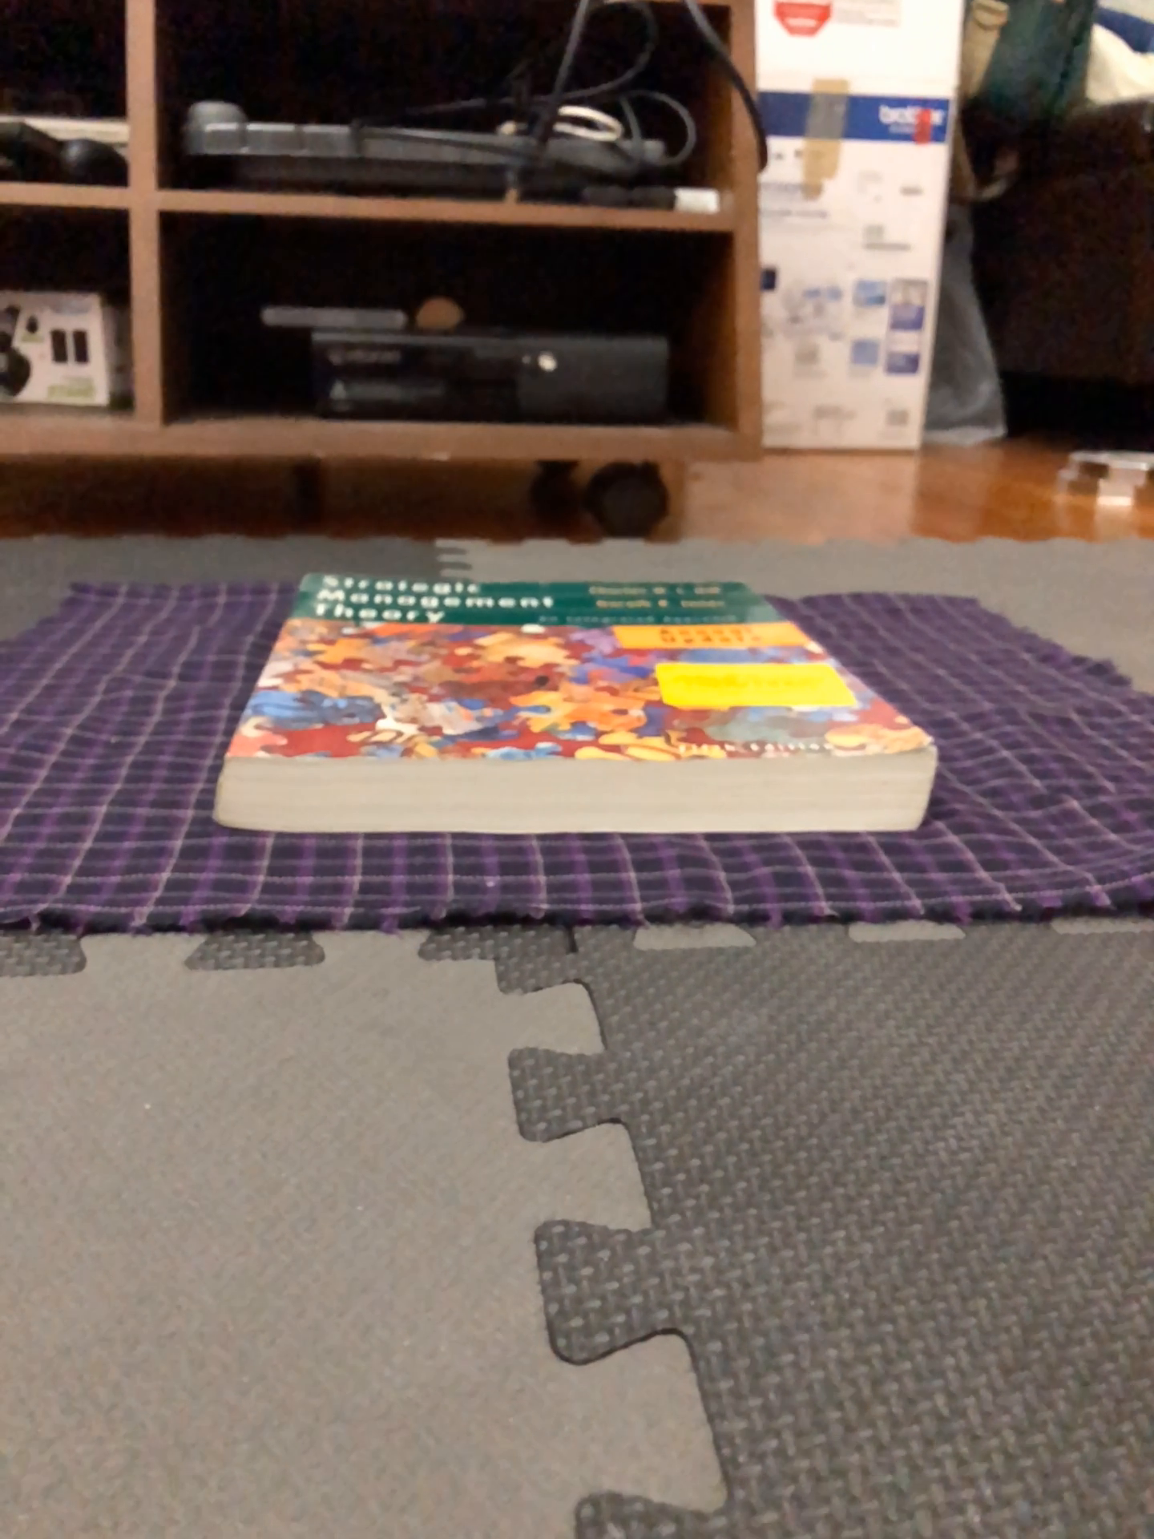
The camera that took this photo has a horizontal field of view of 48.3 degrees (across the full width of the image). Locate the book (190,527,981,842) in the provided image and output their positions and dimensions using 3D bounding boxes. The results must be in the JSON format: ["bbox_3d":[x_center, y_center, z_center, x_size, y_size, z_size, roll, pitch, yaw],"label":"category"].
[{"bbox_3d":[-0.007,-0.050,0.510,0.230,0.040,0.281,-1,21,-5],"label":"book"}]
